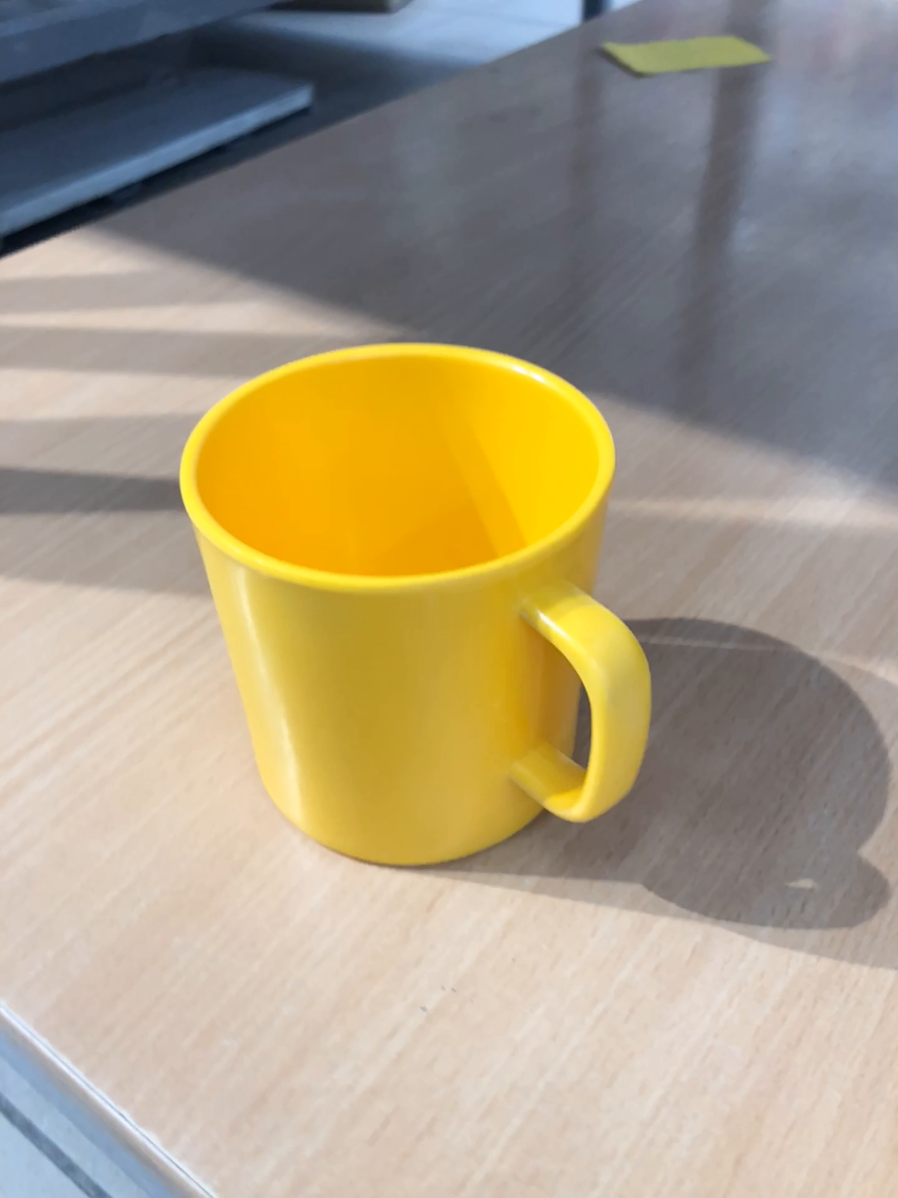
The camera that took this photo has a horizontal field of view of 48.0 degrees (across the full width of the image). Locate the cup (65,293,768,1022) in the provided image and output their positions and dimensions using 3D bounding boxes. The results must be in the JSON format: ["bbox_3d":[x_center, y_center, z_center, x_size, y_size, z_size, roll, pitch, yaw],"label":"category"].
[{"bbox_3d":[-0.009,0.005,0.220,0.080,0.089,0.110,-32,49,-31],"label":"cup"}]
